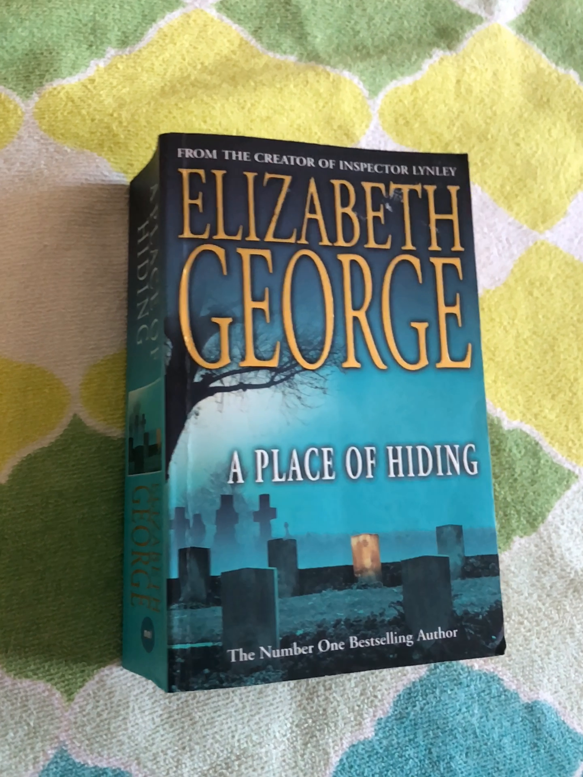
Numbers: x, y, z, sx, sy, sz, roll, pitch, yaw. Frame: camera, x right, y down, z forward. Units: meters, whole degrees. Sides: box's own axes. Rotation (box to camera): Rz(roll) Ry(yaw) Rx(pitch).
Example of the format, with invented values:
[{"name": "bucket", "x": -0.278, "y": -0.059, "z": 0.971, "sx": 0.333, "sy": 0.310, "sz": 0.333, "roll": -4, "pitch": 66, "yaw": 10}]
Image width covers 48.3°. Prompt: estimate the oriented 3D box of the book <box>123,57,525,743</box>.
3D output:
[{"name": "book", "x": 0.006, "y": 0.001, "z": 0.254, "sx": 0.130, "sy": 0.070, "sz": 0.210, "roll": 0, "pitch": 84, "yaw": -21}]
